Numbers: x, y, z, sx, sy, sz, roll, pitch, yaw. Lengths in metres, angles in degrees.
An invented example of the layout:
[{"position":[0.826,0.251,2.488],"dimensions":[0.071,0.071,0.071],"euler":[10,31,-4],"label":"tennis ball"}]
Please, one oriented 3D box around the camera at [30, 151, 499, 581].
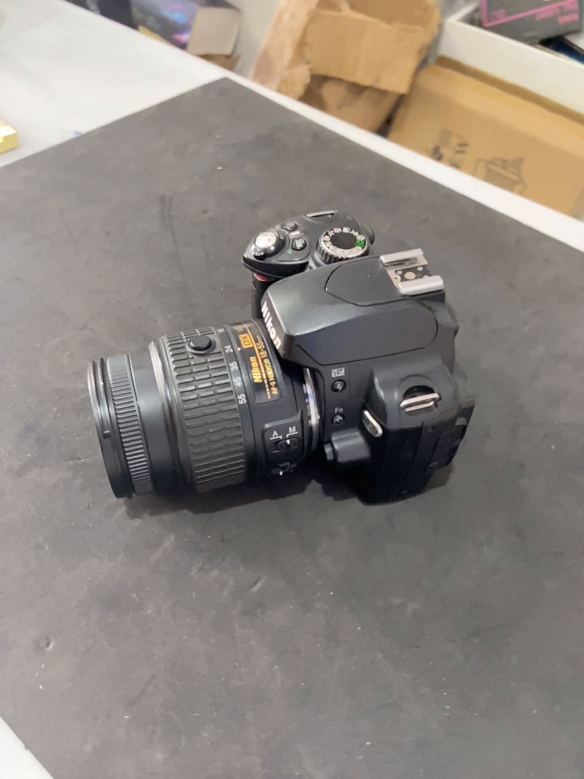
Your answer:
[{"position":[-0.020,-0.018,0.257],"dimensions":[0.140,0.088,0.130],"euler":[-14,52,-13],"label":"camera"}]
